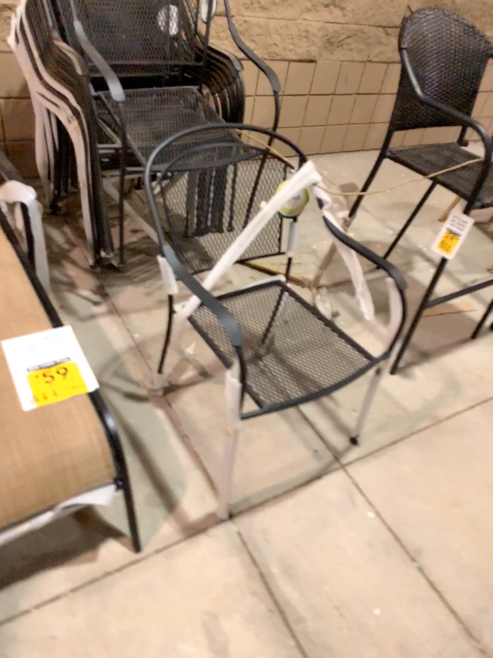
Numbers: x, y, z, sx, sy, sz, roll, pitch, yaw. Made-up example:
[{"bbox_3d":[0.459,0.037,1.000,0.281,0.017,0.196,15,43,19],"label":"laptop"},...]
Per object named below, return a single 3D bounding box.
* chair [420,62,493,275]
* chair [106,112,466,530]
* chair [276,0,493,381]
[{"bbox_3d":[1.485,-0.816,2.560,0.645,0.819,0.631,-5,41,-18],"label":"chair"},{"bbox_3d":[0.019,-0.048,1.424,0.575,0.869,0.640,-19,47,-31],"label":"chair"},{"bbox_3d":[0.668,-0.522,1.925,0.635,1.127,0.711,-16,46,-28],"label":"chair"}]
